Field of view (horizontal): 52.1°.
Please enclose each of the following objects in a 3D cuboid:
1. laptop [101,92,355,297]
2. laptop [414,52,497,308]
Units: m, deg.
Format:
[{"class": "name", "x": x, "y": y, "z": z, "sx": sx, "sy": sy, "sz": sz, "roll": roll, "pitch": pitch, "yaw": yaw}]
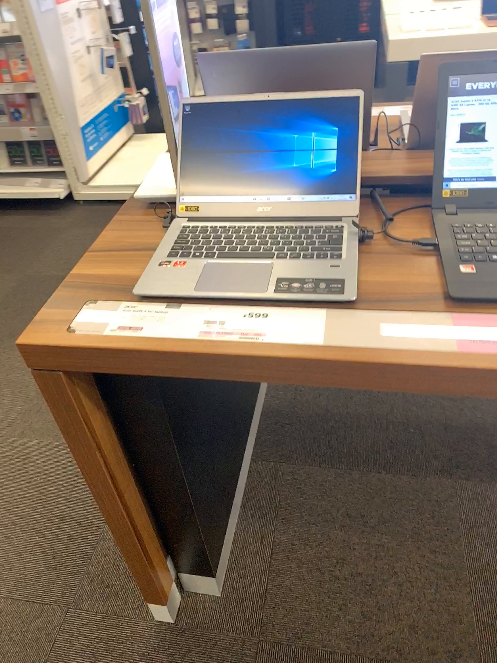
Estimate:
[{"class": "laptop", "x": 0.004, "y": -0.227, "z": 0.787, "sx": 0.307, "sy": 0.153, "sz": 0.362, "roll": 2, "pitch": 41, "yaw": 10}, {"class": "laptop", "x": 0.458, "y": -0.225, "z": 0.699, "sx": 0.371, "sy": 0.191, "sz": 0.359, "roll": 1, "pitch": 41, "yaw": 7}]
